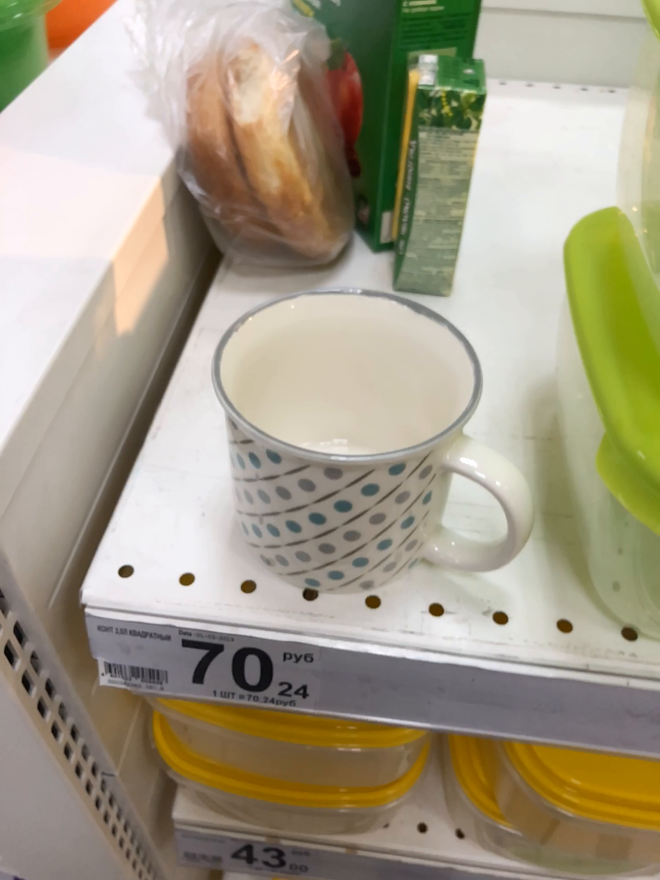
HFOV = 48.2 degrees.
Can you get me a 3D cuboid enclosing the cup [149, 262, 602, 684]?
[{"bbox_3d":[0.019,0.007,0.278,0.127,0.082,0.096,18,48,15],"label":"cup"}]
